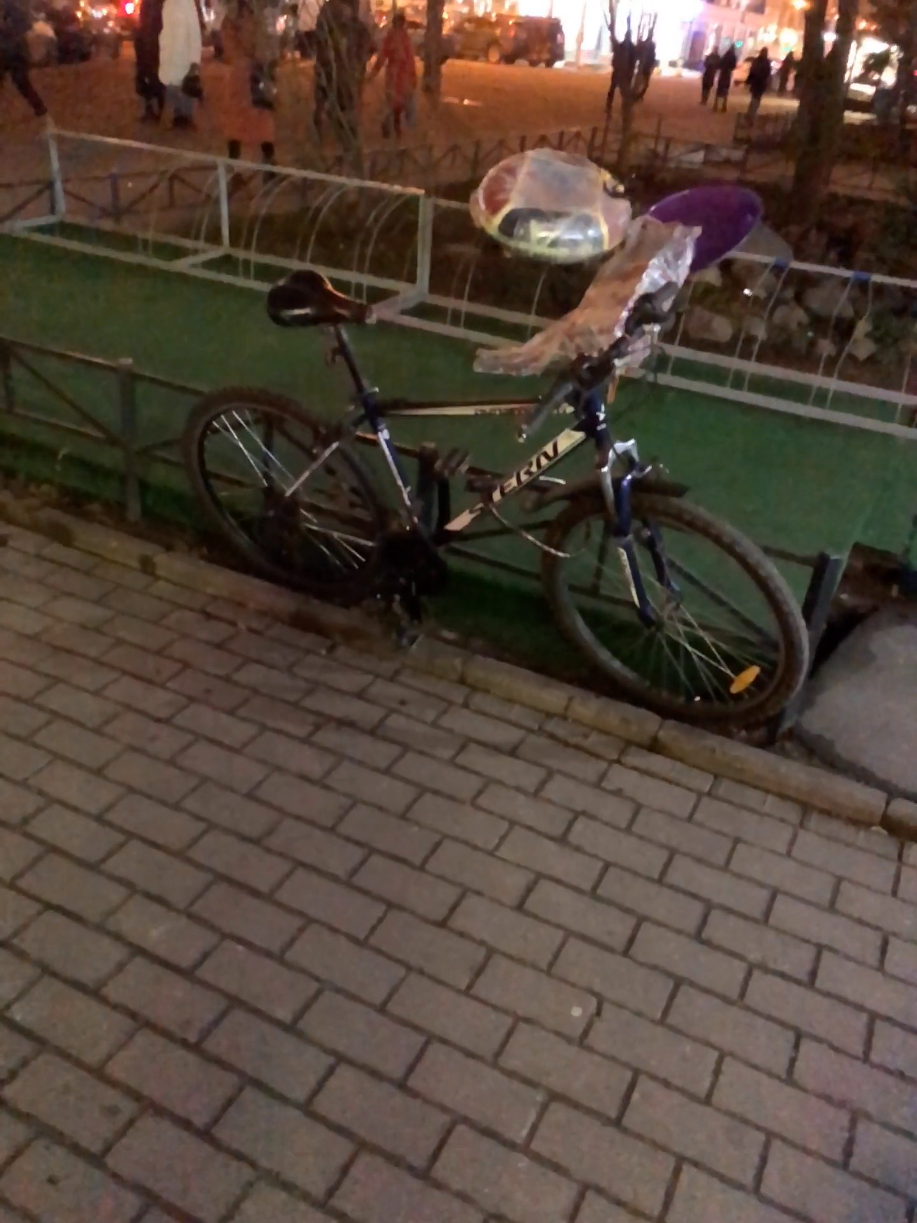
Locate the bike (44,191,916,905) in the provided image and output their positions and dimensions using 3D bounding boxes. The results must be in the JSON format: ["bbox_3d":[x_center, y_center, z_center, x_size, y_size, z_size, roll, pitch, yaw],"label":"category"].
[{"bbox_3d":[-0.035,-0.219,1.977,1.458,0.883,0.532,20,32,22],"label":"bike"}]
